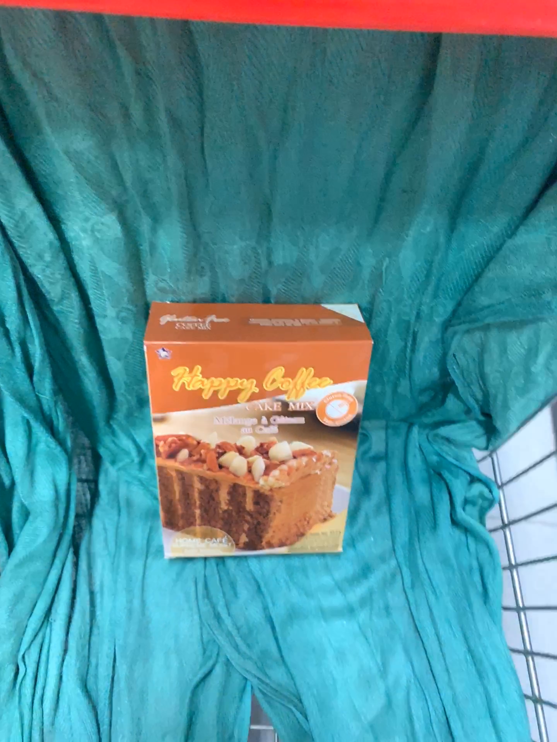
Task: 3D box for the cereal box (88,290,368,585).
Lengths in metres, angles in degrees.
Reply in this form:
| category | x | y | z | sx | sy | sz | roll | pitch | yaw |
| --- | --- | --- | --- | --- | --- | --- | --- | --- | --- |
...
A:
| category | x | y | z | sx | sy | sz | roll | pitch | yaw |
| --- | --- | --- | --- | --- | --- | --- | --- | --- | --- |
| cereal box | -0.033 | 0.052 | 0.387 | 0.150 | 0.210 | 0.050 | -1 | 33 | -6 |
